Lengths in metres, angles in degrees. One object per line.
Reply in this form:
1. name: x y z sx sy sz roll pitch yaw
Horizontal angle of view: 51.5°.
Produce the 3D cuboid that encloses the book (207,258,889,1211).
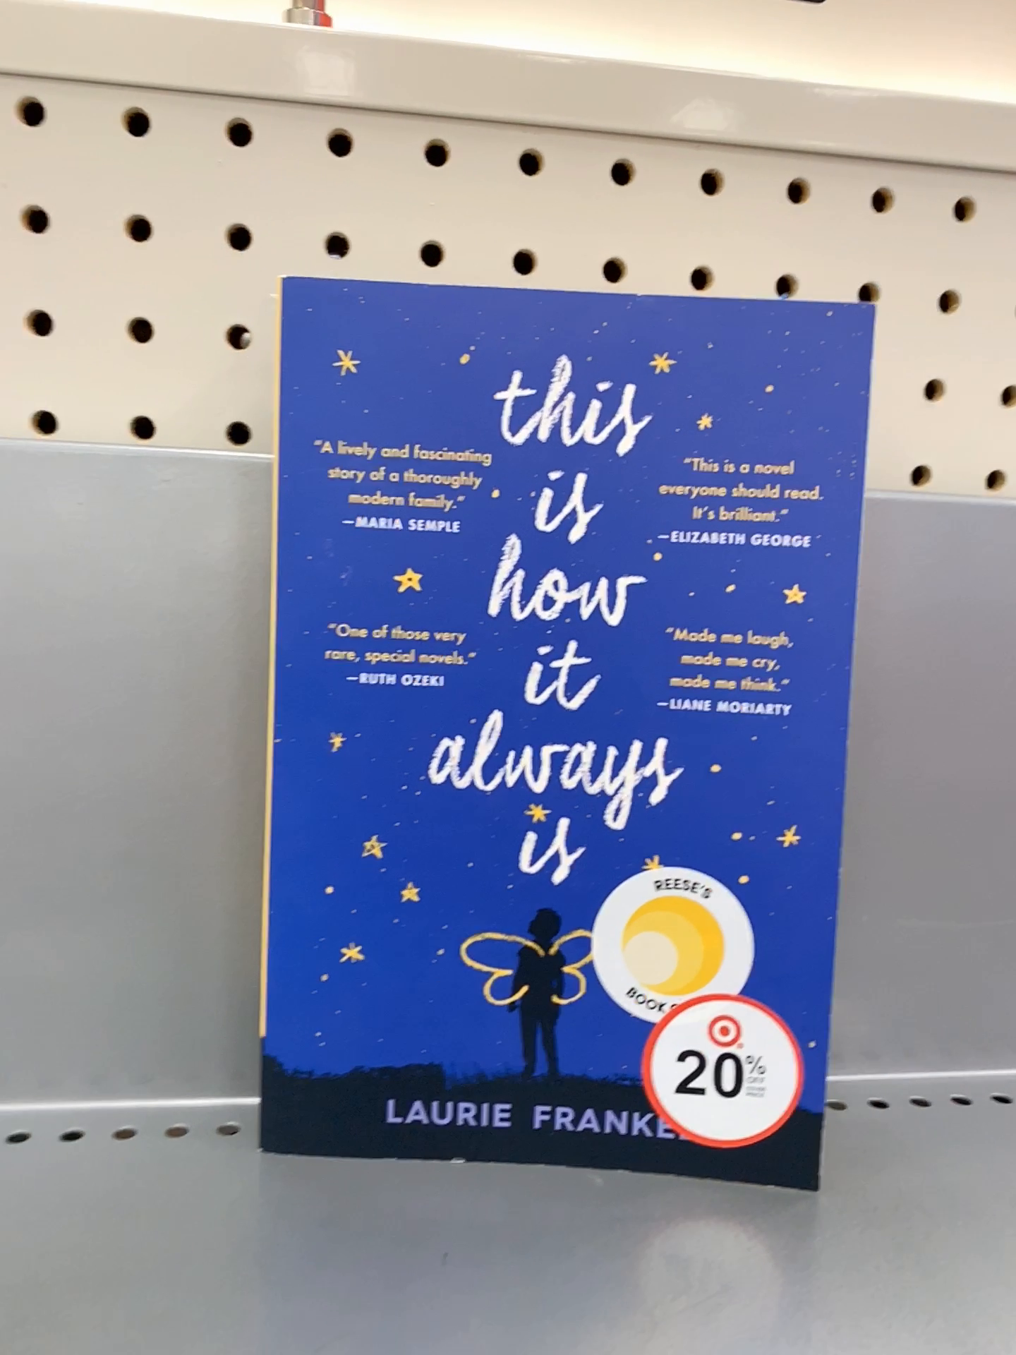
1. book: 0.006 0.015 0.261 0.140 0.209 0.044 4 6 1
